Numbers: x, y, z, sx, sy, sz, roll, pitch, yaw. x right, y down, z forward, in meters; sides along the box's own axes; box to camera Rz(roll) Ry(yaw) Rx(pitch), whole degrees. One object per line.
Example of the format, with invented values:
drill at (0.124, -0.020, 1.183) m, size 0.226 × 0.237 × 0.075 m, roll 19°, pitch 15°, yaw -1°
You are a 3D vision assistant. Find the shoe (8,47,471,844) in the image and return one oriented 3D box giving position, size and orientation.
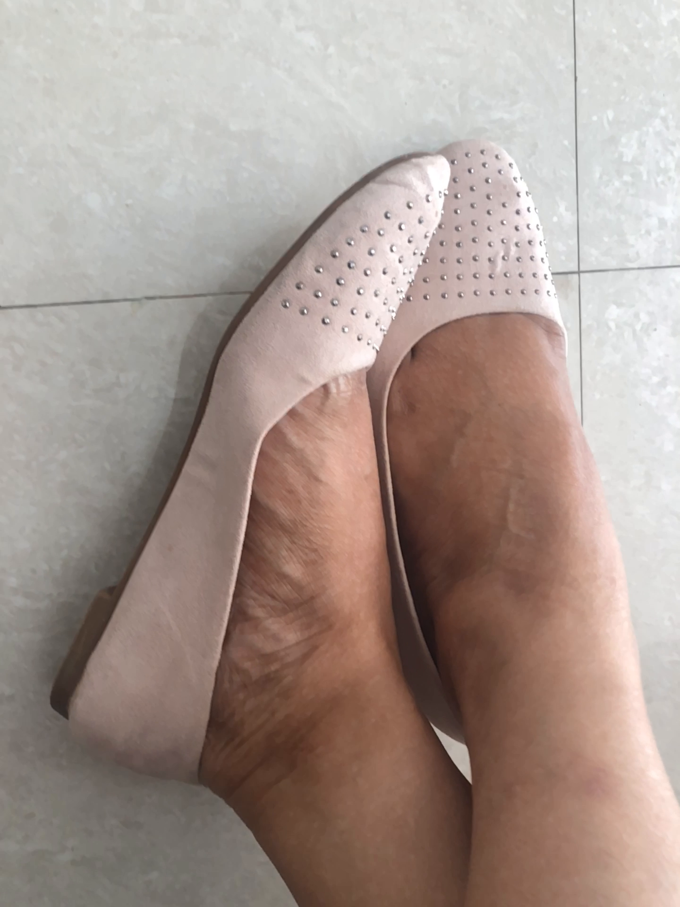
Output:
shoe at (-0.030, 0.000, 0.276) m, size 0.060 × 0.090 × 0.240 m, roll 22°, pitch 96°, yaw 19°

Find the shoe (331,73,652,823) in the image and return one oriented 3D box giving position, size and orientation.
shoe at (0.056, 0.000, 0.322) m, size 0.100 × 0.080 × 0.270 m, roll -2°, pitch 98°, yaw -16°
